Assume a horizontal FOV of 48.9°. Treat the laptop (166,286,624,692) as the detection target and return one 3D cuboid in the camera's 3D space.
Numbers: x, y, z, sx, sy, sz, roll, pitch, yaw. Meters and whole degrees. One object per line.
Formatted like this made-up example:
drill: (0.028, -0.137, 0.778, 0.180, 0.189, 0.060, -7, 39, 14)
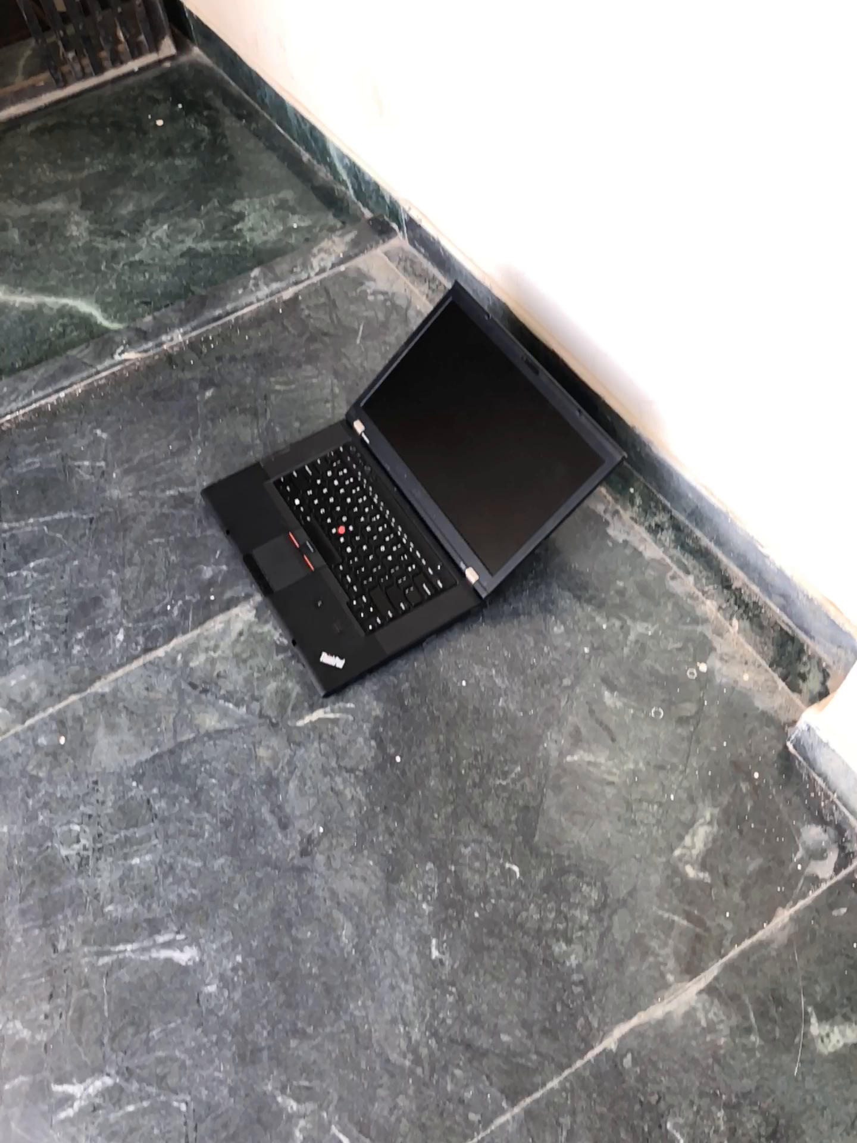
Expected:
laptop: (-0.039, -0.106, 1.035, 0.375, 0.115, 0.312, -29, 59, -13)
